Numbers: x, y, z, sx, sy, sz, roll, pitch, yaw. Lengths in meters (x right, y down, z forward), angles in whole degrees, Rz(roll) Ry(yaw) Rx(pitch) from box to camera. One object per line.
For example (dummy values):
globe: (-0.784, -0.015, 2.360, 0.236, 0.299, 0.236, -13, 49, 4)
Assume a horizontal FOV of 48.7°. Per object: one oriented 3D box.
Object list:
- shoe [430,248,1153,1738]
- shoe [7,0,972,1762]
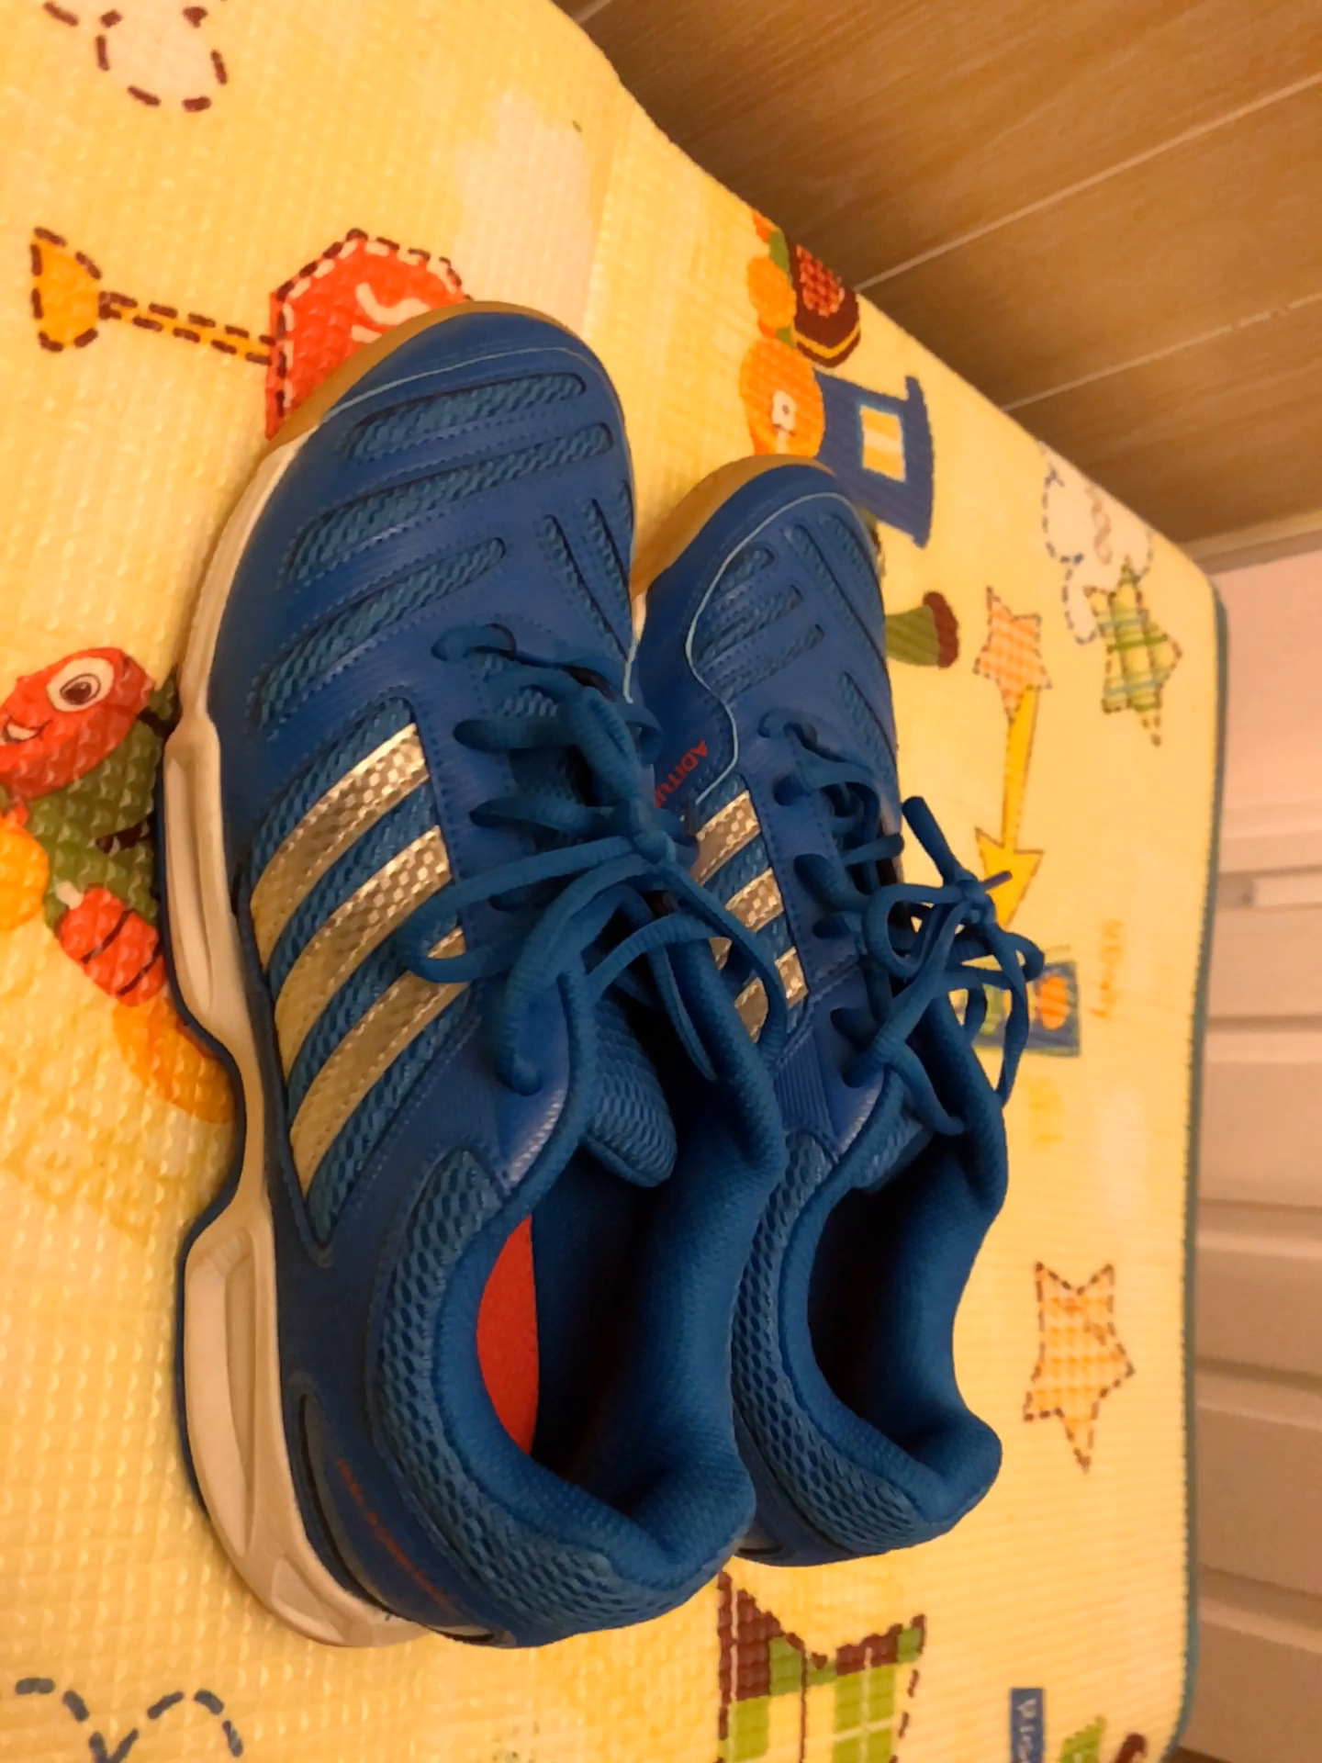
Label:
shoe: (0.038, 0.023, 0.363, 0.111, 0.119, 0.290, 14, 76, -43)
shoe: (-0.031, -0.001, 0.300, 0.111, 0.139, 0.290, 13, 77, -43)
